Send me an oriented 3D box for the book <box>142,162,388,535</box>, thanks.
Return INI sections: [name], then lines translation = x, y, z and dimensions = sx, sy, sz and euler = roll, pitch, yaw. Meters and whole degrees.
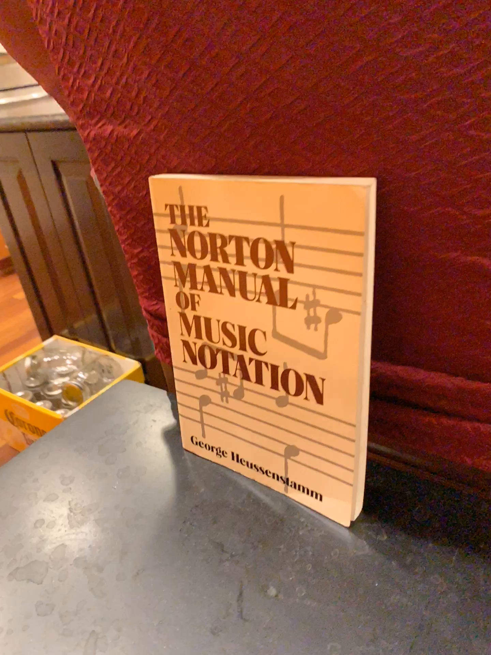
[book]
translation = 0.010, 0.011, 0.388
dimensions = 0.181, 0.259, 0.030
euler = 14, 28, 36
